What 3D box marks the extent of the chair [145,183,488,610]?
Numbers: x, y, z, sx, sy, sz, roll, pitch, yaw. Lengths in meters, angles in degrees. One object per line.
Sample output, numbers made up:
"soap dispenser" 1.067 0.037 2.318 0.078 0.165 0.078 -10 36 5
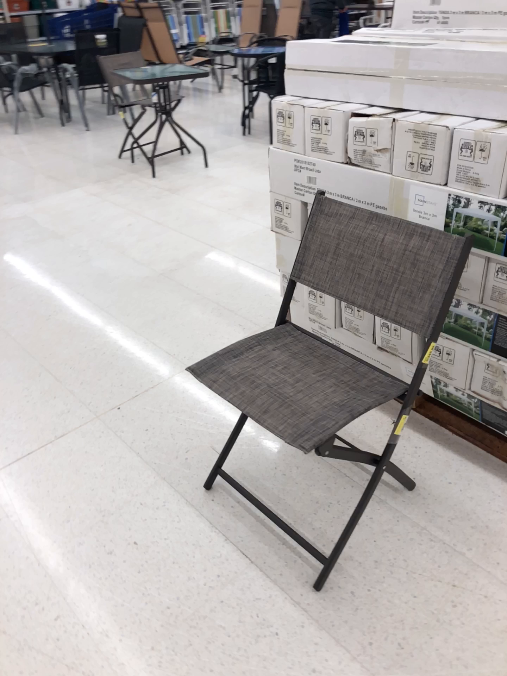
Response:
"chair" 0.140 0.106 1.366 0.502 0.754 0.512 -27 40 -33
